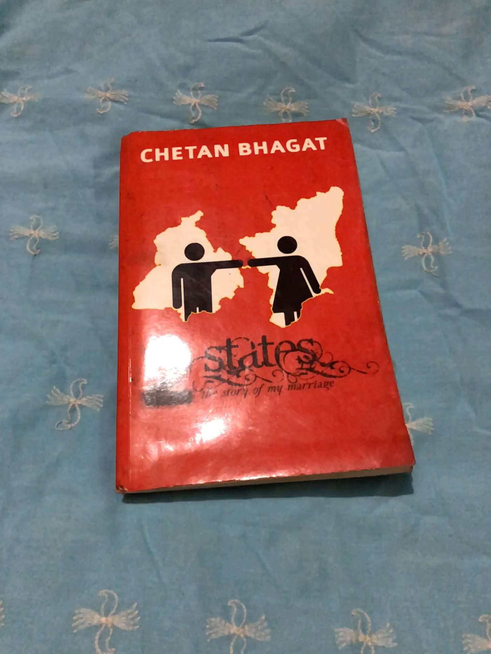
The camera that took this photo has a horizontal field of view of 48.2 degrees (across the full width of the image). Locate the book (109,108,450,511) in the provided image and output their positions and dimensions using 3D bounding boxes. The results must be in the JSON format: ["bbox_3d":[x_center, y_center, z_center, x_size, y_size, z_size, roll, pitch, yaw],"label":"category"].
[{"bbox_3d":[0.006,-0.019,0.276,0.140,0.030,0.200,-4,67,-3],"label":"book"}]
